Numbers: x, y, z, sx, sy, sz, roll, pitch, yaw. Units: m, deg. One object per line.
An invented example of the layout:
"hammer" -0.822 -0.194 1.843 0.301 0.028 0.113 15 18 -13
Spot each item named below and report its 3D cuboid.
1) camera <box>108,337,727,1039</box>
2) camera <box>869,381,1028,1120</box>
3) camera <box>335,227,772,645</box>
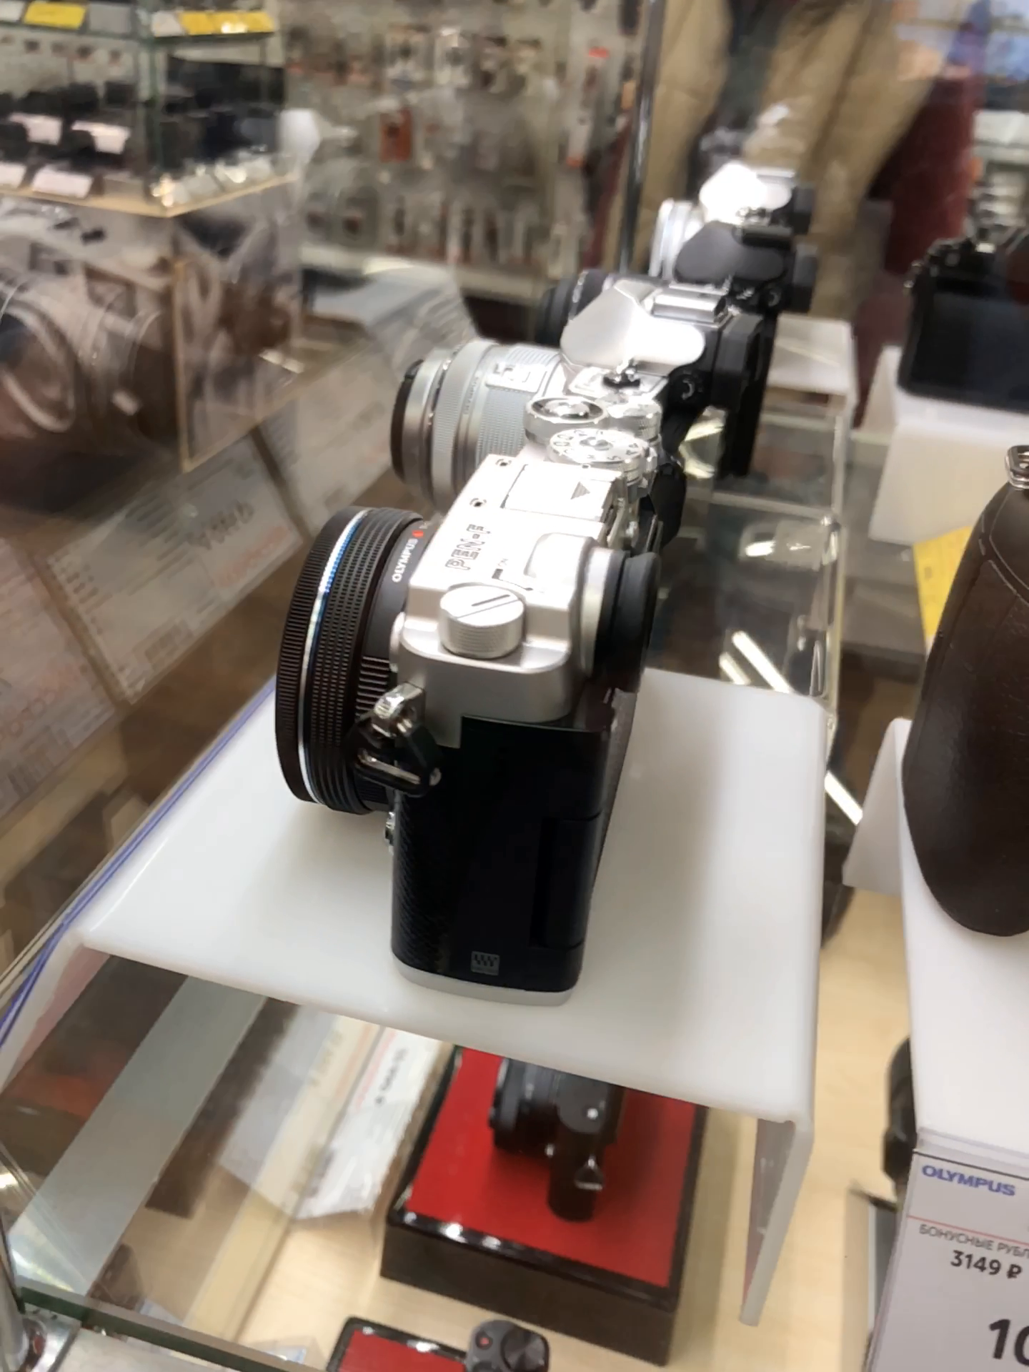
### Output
"camera" -0.007 -0.012 0.224 0.076 0.070 0.128 11 32 9
"camera" 0.138 0.003 0.206 0.127 0.075 0.084 11 32 9
"camera" 0.017 -0.084 0.350 0.099 0.075 0.128 12 32 11
